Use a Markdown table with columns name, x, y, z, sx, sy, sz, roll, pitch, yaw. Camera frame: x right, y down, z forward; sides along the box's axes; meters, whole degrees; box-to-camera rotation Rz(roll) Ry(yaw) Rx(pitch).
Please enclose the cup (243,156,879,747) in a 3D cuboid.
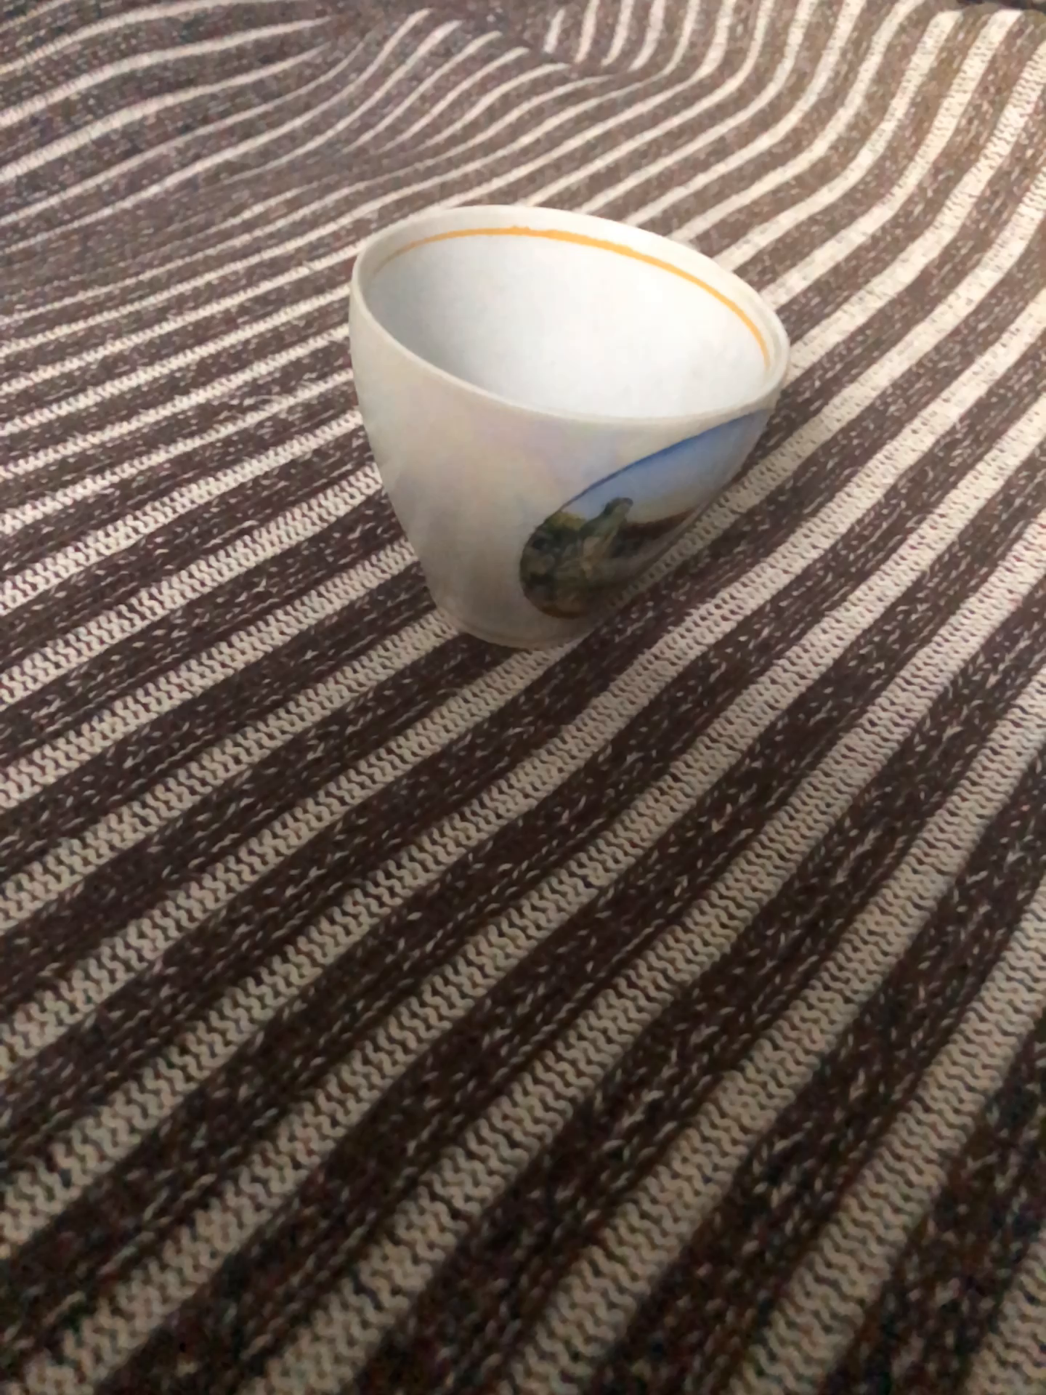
| name | x | y | z | sx | sy | sz | roll | pitch | yaw |
| --- | --- | --- | --- | --- | --- | --- | --- | --- | --- |
| cup | 0.007 | -0.044 | 0.185 | 0.061 | 0.041 | 0.079 | 31 | 47 | 15 |
